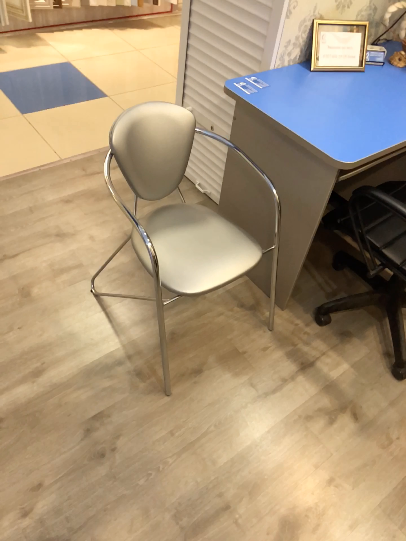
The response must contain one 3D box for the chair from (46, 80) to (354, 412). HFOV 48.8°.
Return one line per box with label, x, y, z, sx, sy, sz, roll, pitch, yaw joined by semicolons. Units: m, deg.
chair;-0.060;-0.112;1.612;0.612;0.746;0.732;-27;56;-30
